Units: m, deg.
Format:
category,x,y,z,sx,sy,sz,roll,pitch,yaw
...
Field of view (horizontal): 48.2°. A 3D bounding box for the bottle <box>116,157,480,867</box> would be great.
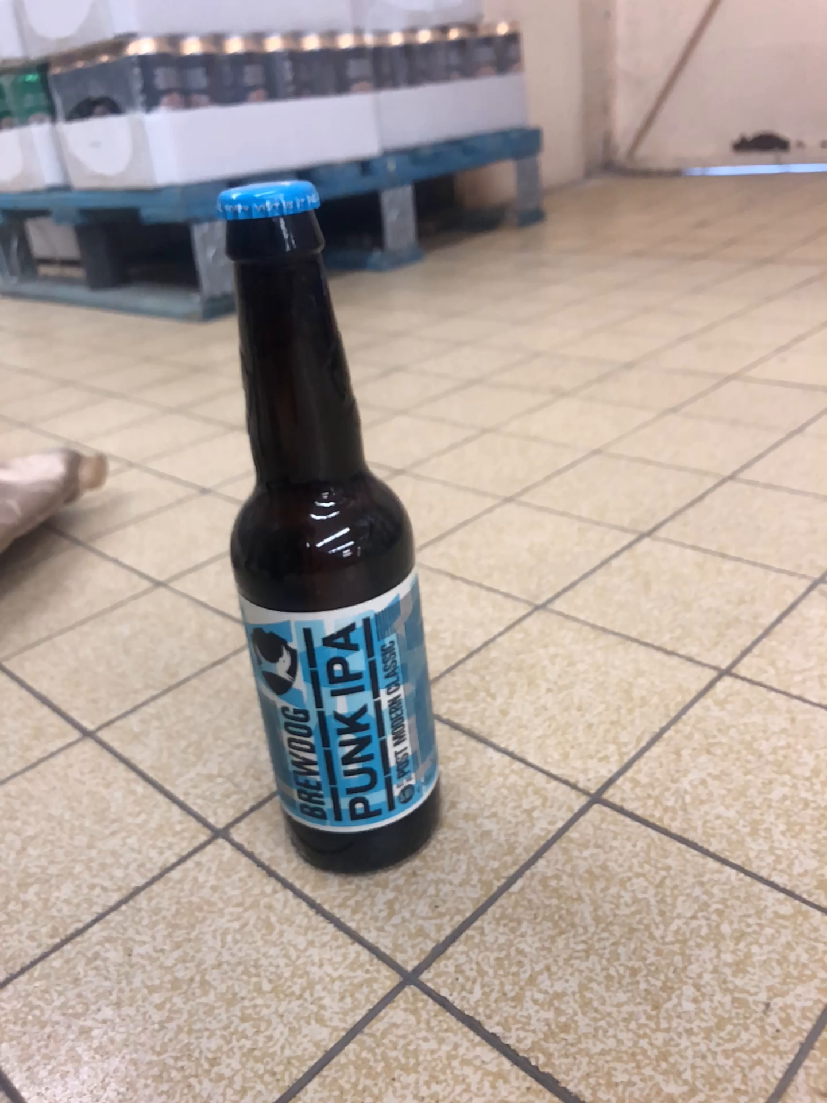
category,x,y,z,sx,sy,sz,roll,pitch,yaw
bottle,-0.022,-0.006,0.291,0.070,0.209,0.070,-5,25,2
